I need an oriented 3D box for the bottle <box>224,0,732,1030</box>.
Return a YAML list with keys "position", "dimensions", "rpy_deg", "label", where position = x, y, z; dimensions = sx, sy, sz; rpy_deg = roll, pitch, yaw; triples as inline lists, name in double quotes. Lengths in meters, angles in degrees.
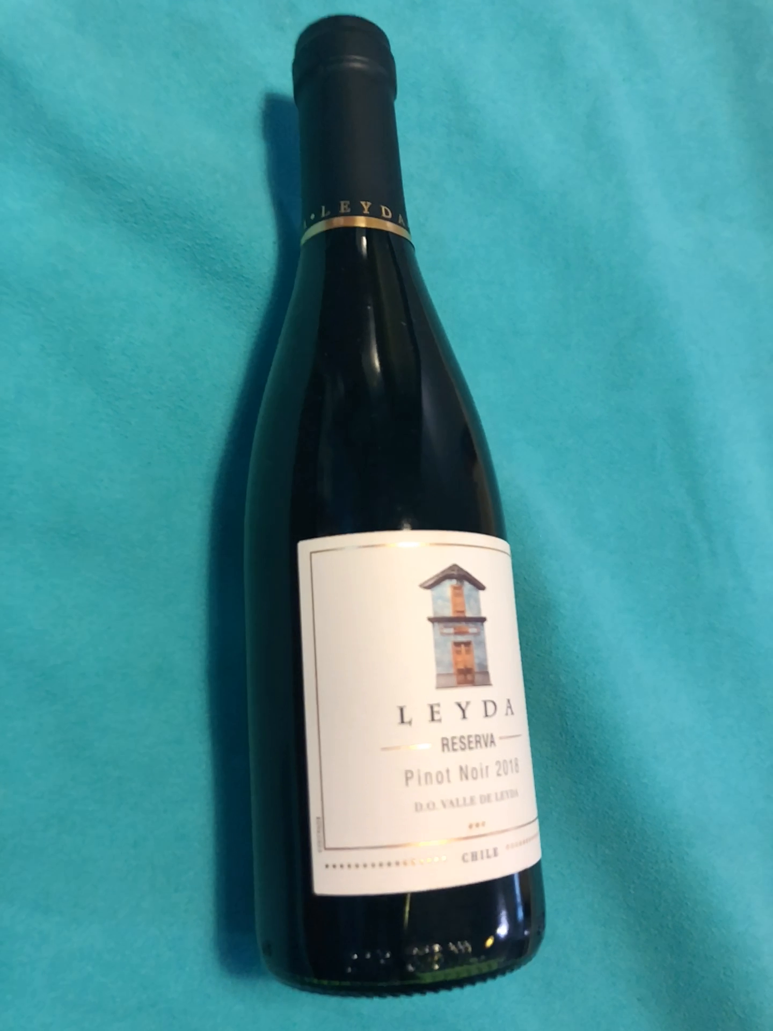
- position: [0.014, -0.037, 0.198]
  dimensions: [0.070, 0.080, 0.260]
  rpy_deg: [6, 77, -23]
  label: "bottle"
